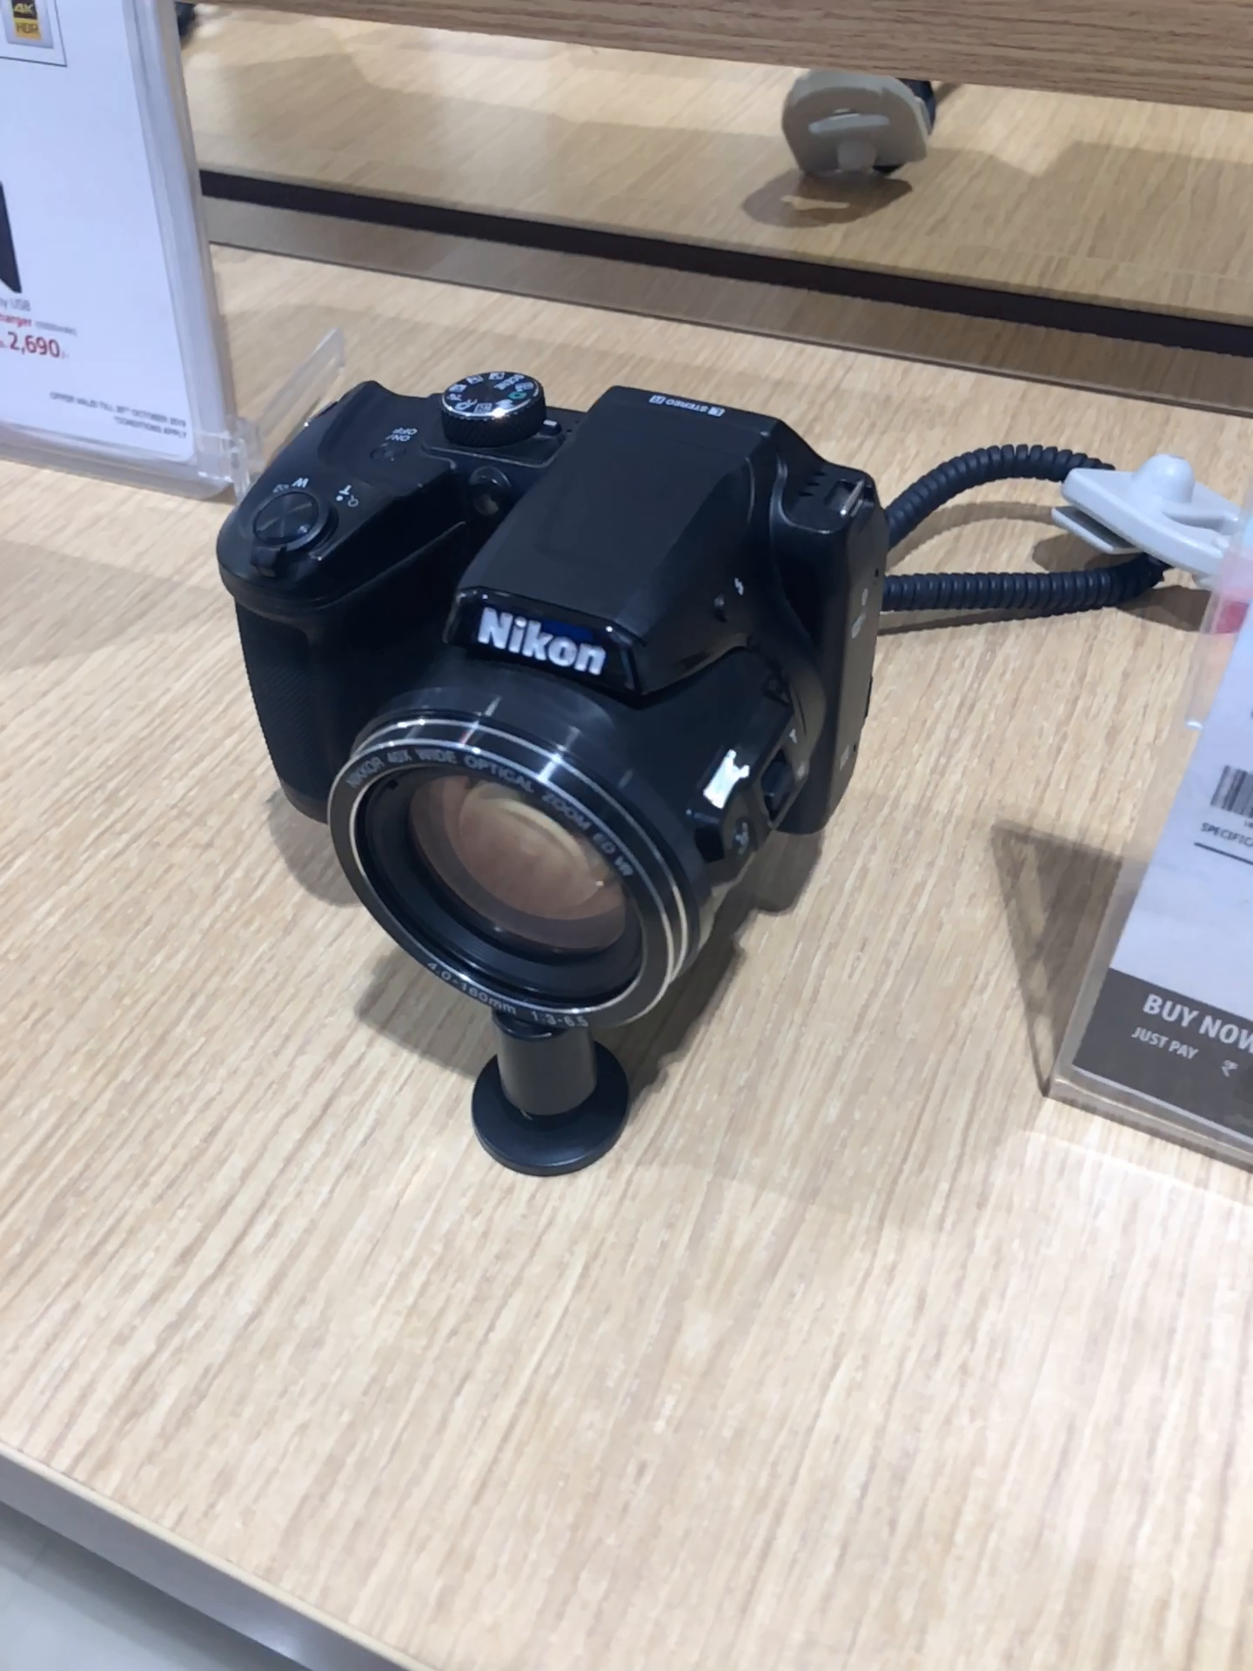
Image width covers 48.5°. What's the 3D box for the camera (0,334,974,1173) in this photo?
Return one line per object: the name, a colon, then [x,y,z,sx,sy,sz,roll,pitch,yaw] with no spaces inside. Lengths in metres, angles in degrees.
camera: [-0.019,-0.021,0.230,0.120,0.070,0.091,17,48,19]
